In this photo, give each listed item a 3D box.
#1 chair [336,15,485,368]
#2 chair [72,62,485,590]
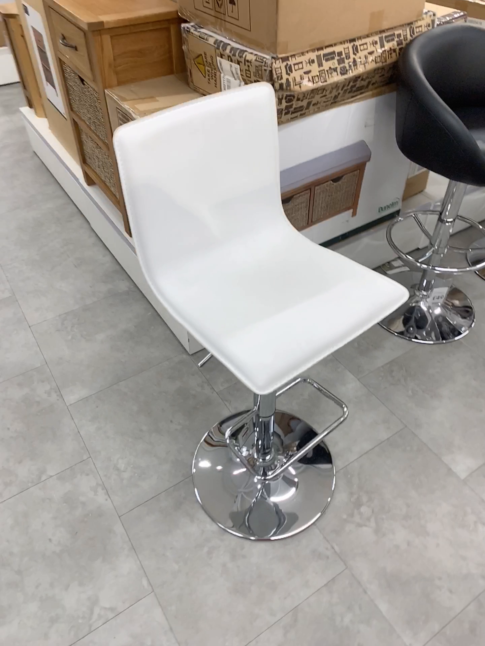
[{"bbox_3d":[0.688,-0.397,1.594,0.470,0.910,0.445,-27,50,-25],"label":"chair"},{"bbox_3d":[0.059,0.068,1.074,0.461,0.989,0.444,-30,51,-27],"label":"chair"}]
